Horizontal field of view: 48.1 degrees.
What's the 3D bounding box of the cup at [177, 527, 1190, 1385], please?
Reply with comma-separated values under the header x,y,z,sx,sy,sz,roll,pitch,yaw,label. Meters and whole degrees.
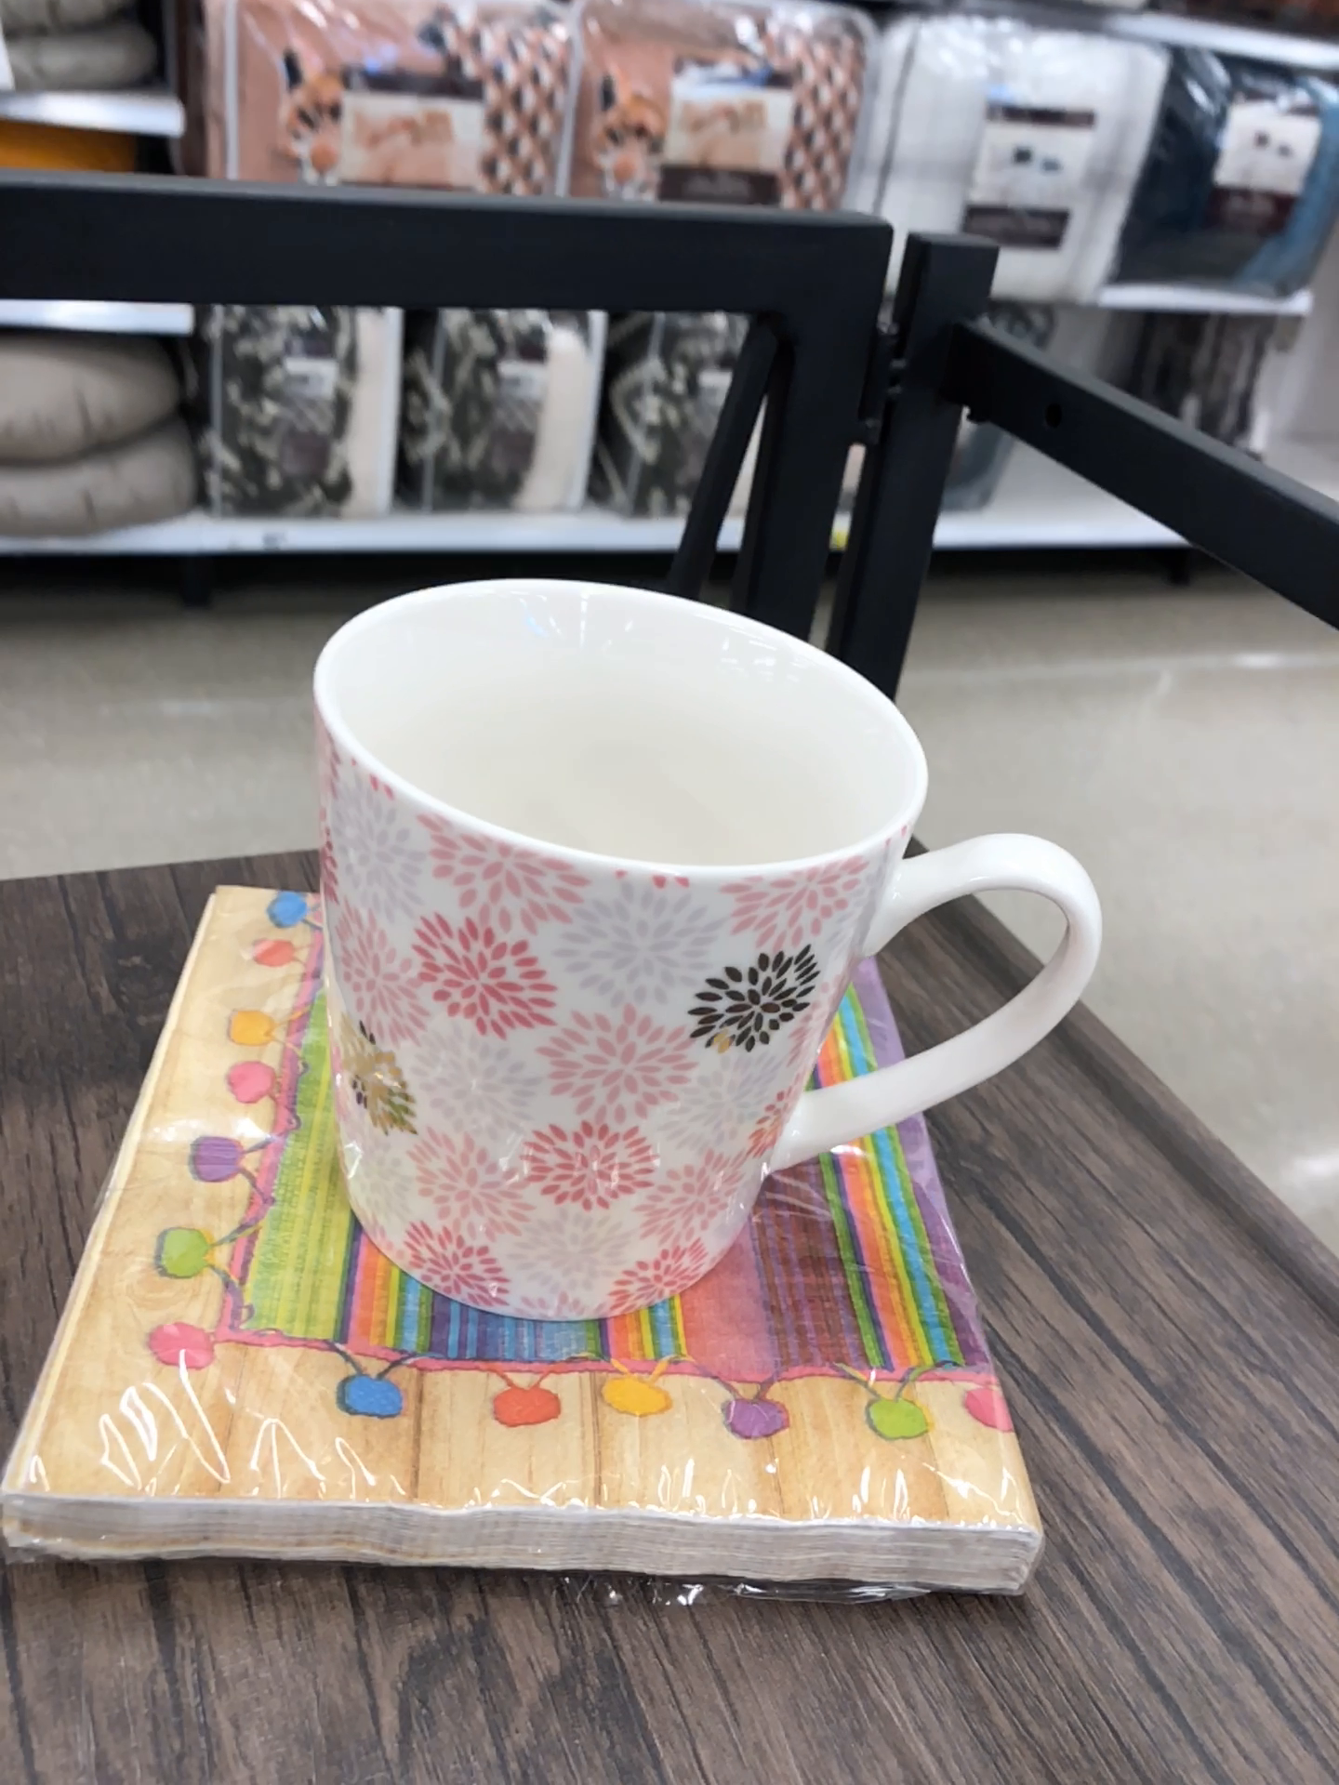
x,y,z,sx,sy,sz,roll,pitch,yaw,label
-0.002,0.008,0.274,0.140,0.100,0.100,8,34,-3,cup
